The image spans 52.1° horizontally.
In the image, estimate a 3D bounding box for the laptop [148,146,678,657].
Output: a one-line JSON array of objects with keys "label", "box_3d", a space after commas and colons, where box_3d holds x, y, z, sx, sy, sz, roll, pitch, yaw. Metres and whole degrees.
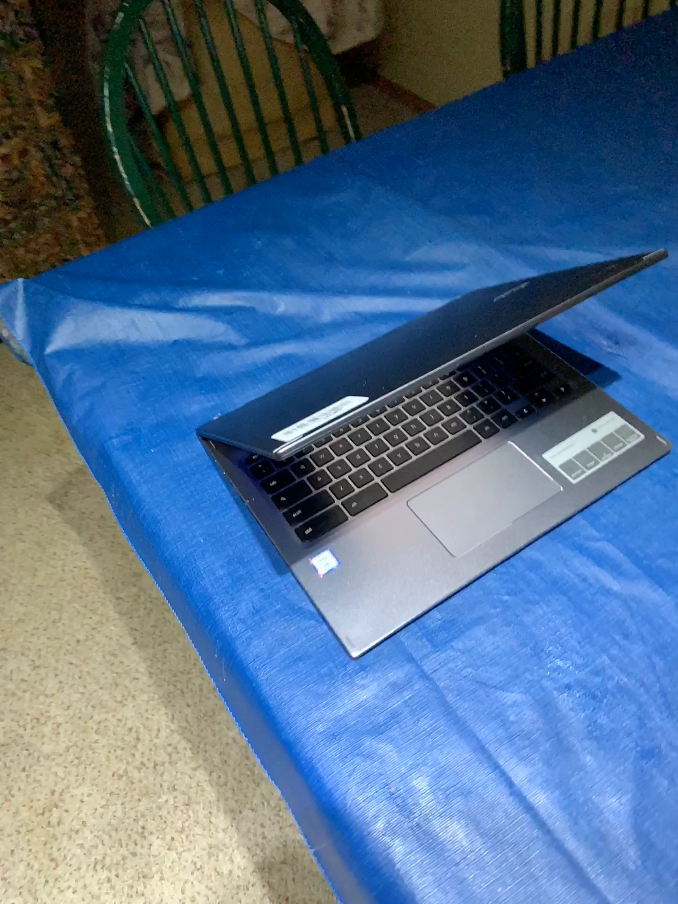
[{"label": "laptop", "box_3d": [0.064, -0.060, 0.518, 0.303, 0.151, 0.251, -28, 53, -17]}]
